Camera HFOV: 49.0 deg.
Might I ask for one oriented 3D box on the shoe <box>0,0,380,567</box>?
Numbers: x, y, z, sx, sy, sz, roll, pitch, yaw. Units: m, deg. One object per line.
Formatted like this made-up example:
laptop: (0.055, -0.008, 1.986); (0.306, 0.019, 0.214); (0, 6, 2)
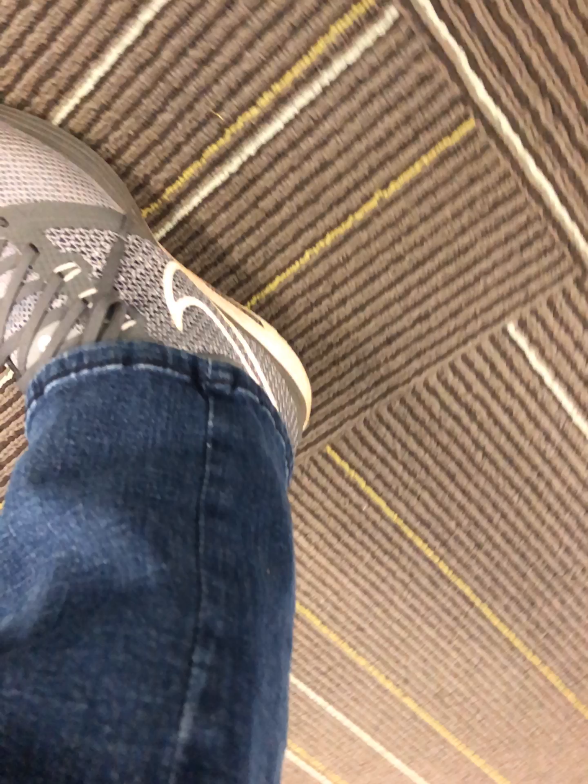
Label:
shoe: (-0.109, -0.050, 0.333); (0.300, 0.060, 0.120); (40, 116, -9)
